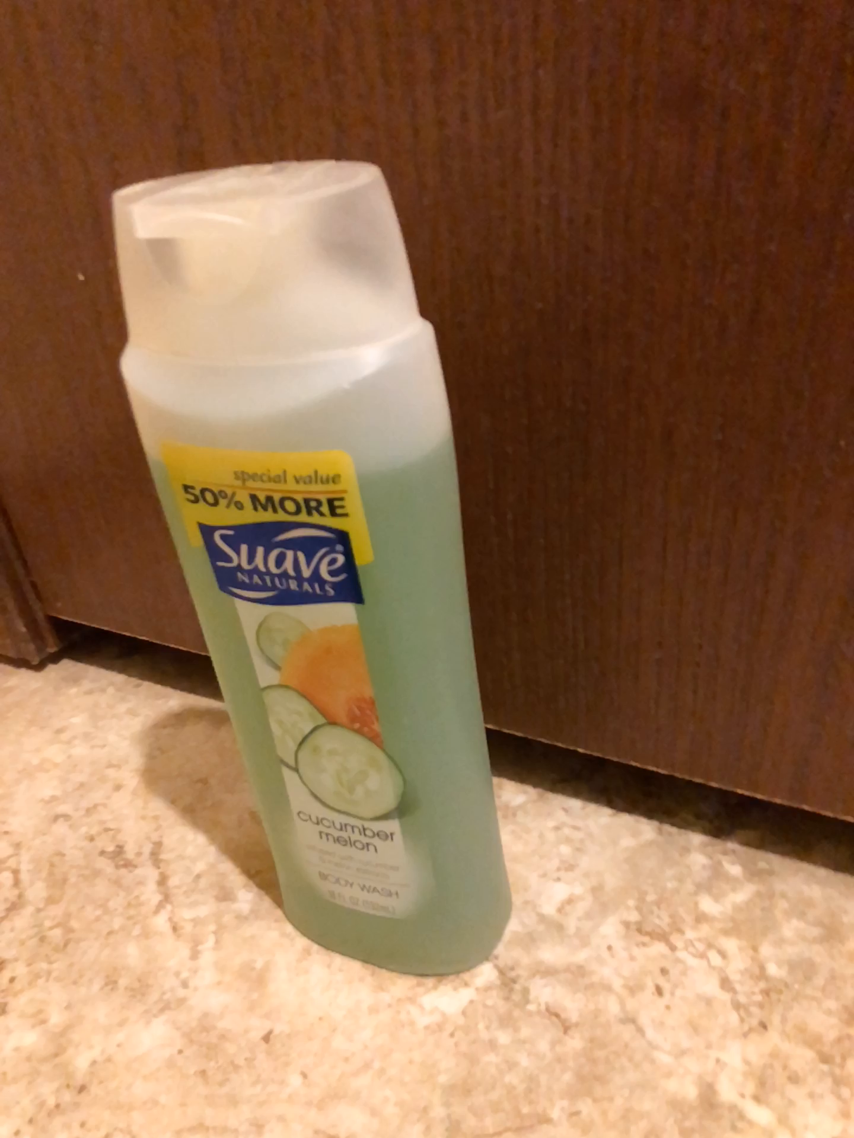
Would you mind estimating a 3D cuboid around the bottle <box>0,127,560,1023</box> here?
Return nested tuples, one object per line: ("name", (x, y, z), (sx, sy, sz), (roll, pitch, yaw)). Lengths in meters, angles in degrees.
("bottle", (-0.021, 0.018, 0.258), (0.090, 0.239, 0.050), (6, 35, 22))
